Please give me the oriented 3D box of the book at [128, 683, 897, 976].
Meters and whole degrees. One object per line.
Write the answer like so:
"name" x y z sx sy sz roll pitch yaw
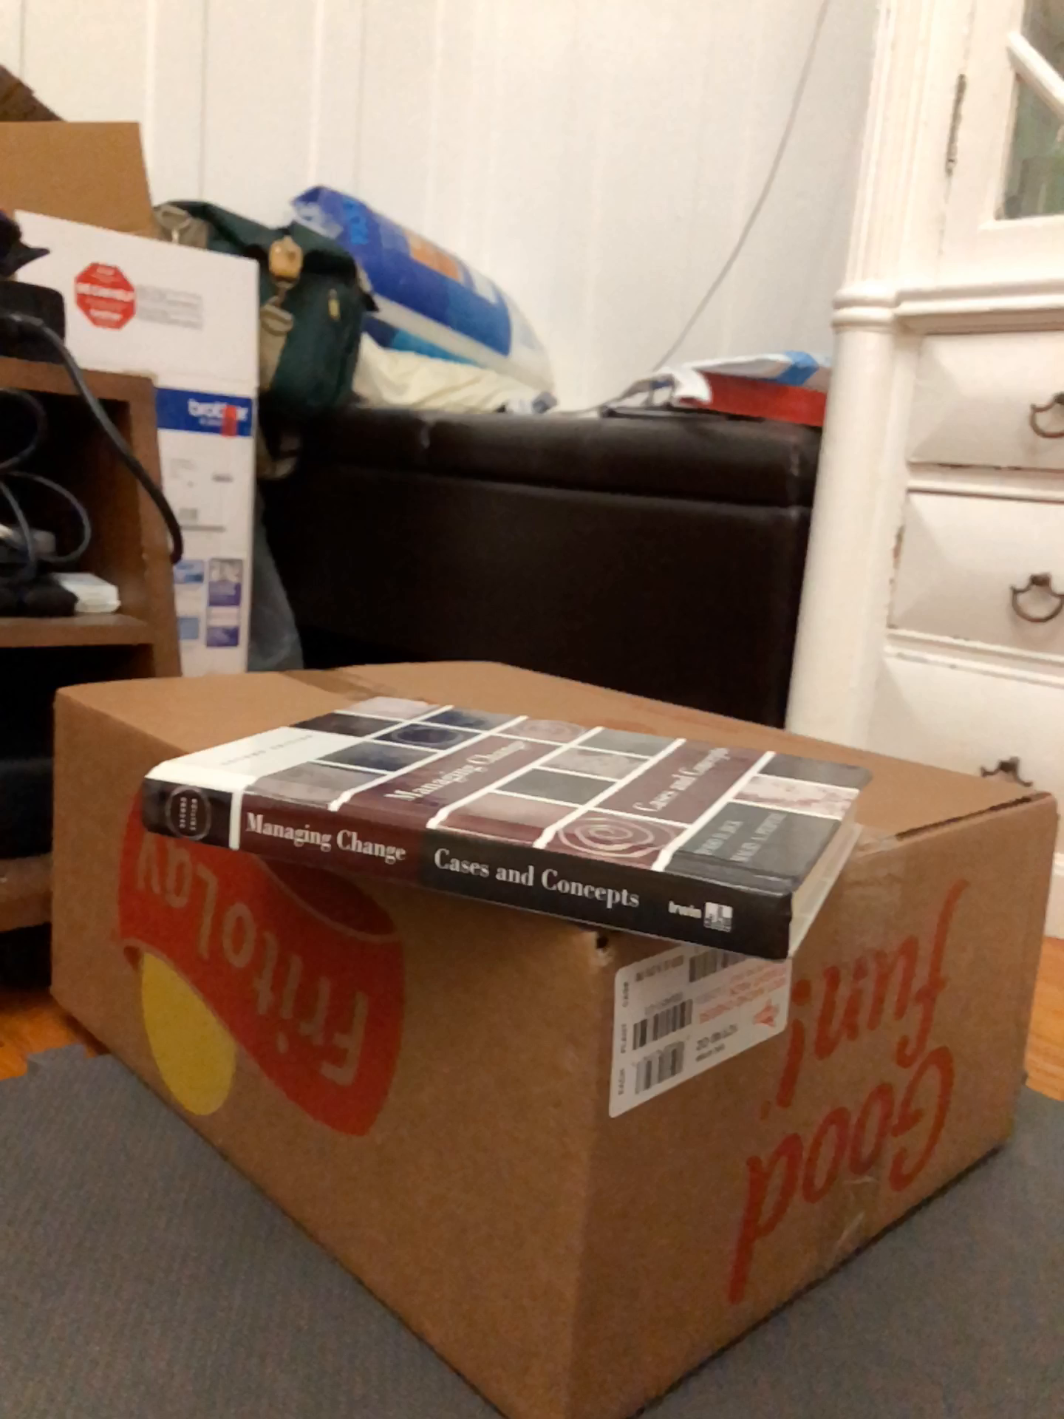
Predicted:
"book" 0.004 0.032 0.463 0.250 0.030 0.180 9 11 21
